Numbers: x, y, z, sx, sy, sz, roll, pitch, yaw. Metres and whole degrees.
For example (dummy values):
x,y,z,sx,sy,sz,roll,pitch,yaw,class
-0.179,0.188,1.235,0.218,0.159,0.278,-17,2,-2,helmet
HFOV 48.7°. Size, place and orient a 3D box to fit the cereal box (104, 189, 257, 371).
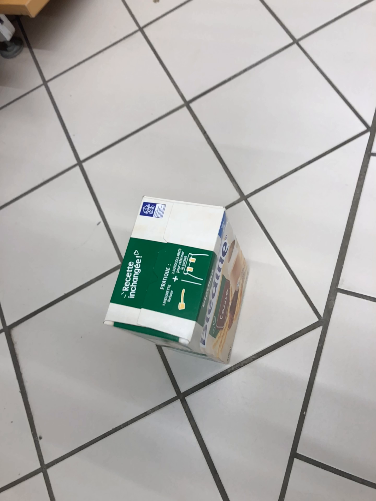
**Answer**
x,y,z,sx,sy,sz,roll,pitch,yaw,class
0.008,0.044,0.456,0.090,0.190,0.140,10,73,18,cereal box
